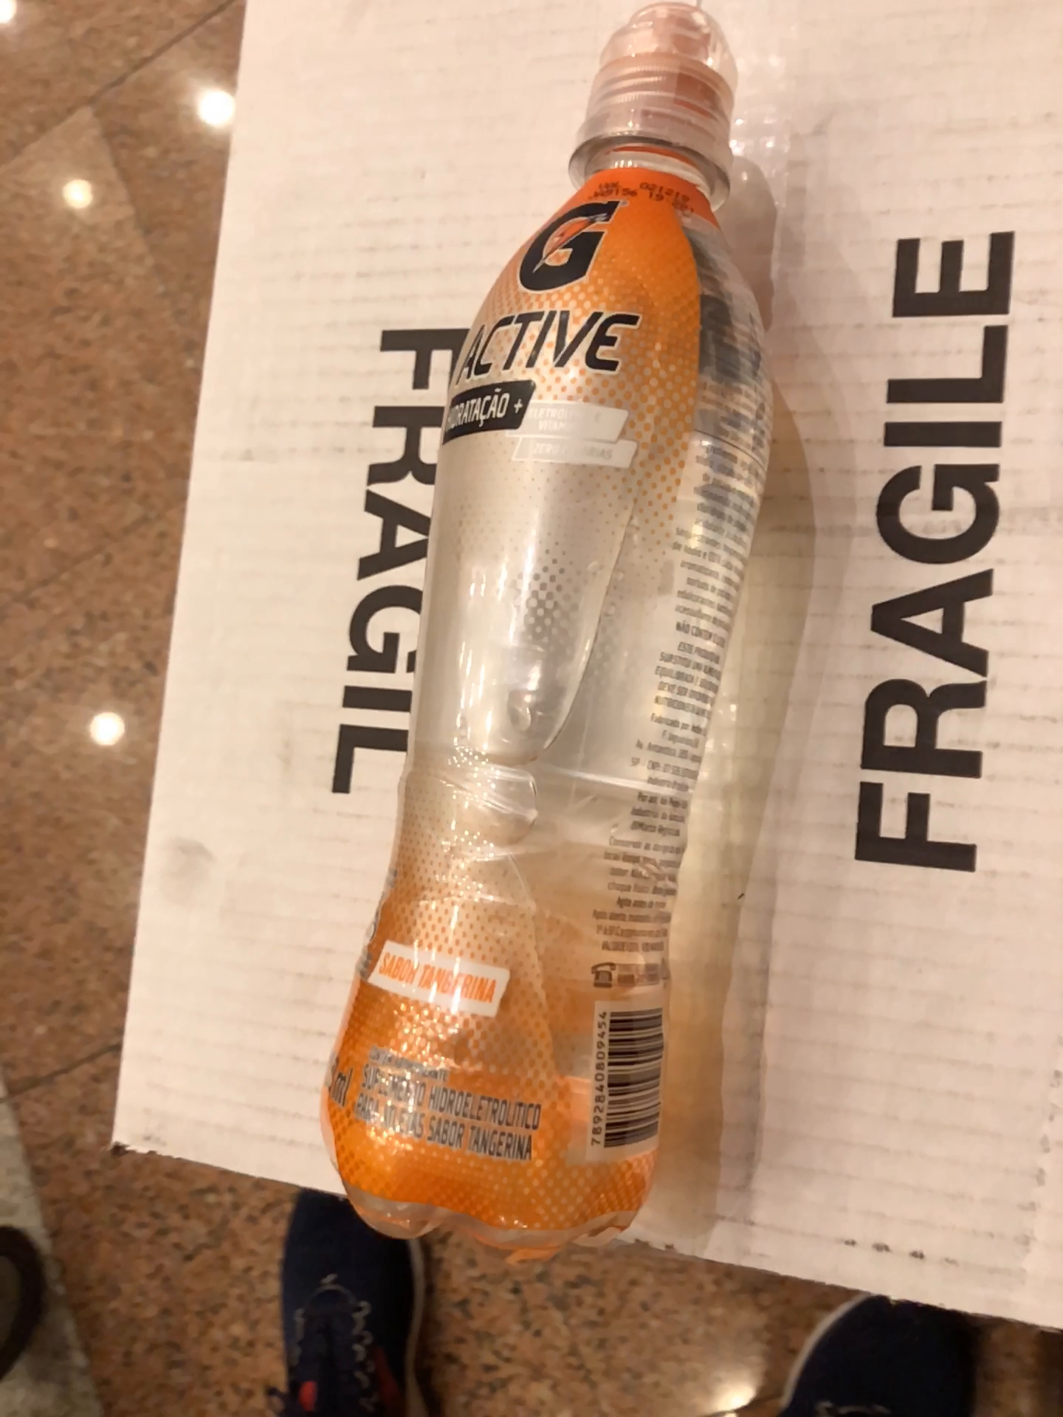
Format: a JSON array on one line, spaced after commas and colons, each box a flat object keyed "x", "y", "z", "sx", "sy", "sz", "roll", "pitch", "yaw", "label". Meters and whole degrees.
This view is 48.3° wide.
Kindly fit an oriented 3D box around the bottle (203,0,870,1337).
[{"x": 0.008, "y": -0.031, "z": 0.224, "sx": 0.070, "sy": 0.060, "sz": 0.250, "roll": 9, "pitch": 86, "yaw": 19, "label": "bottle"}]
